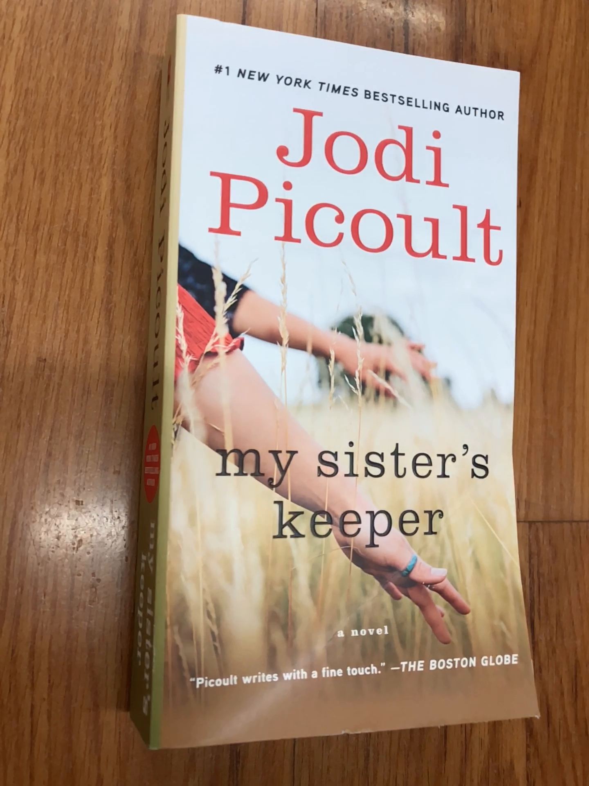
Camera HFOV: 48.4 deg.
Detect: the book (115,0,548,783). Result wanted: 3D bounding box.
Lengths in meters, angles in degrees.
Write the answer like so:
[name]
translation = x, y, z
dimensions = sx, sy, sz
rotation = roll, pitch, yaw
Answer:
[book]
translation = 0.011, -0.005, 0.188
dimensions = 0.110, 0.040, 0.190
rotation = 3, 84, -16
